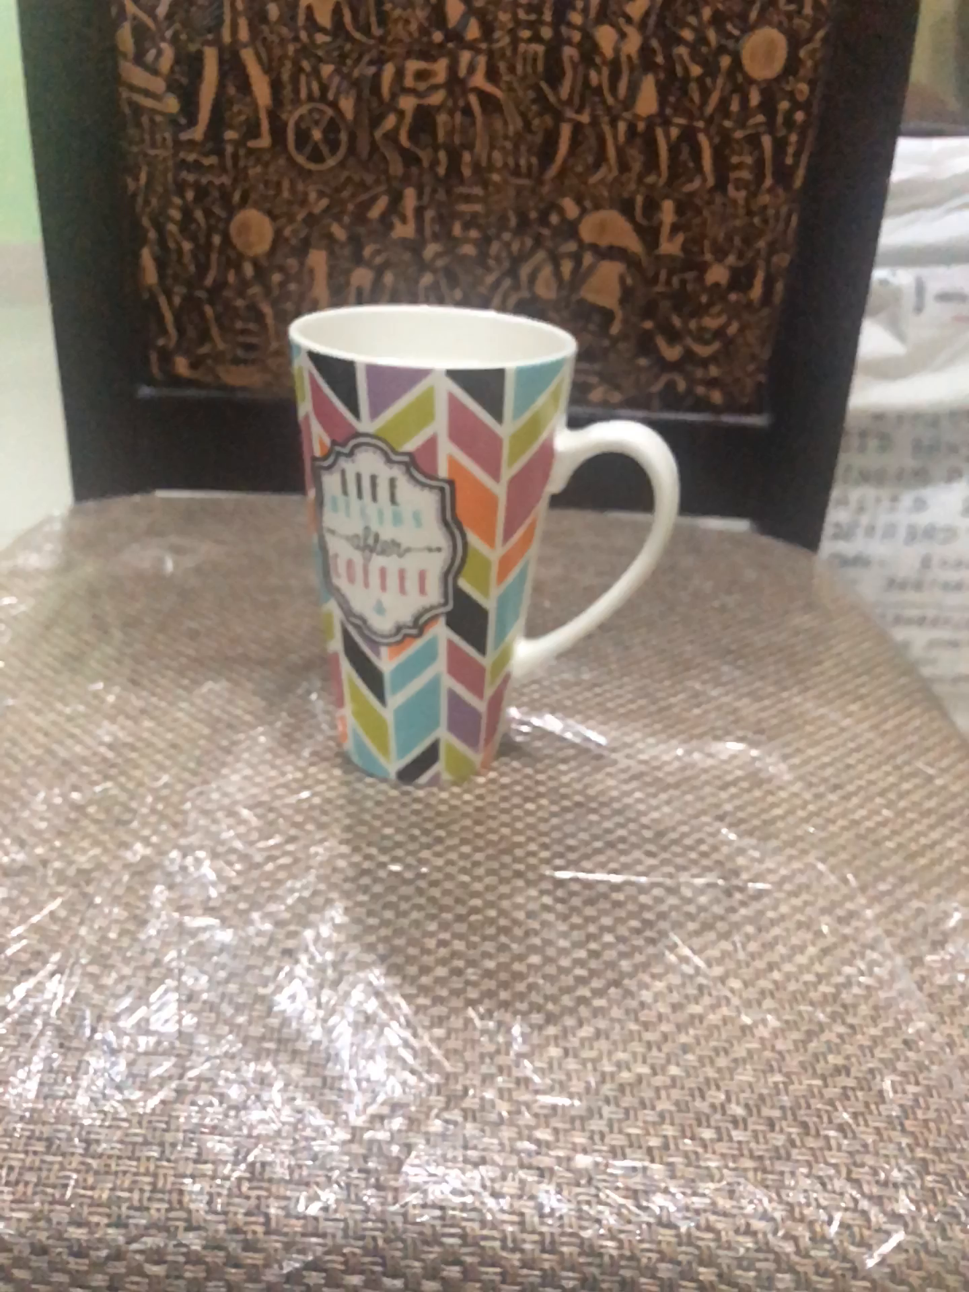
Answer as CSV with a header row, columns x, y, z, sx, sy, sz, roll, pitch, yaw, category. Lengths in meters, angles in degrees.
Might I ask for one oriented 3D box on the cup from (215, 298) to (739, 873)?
x,y,z,sx,sy,sz,roll,pitch,yaw,category
-0.002,-0.027,0.350,0.130,0.139,0.090,12,27,18,cup
